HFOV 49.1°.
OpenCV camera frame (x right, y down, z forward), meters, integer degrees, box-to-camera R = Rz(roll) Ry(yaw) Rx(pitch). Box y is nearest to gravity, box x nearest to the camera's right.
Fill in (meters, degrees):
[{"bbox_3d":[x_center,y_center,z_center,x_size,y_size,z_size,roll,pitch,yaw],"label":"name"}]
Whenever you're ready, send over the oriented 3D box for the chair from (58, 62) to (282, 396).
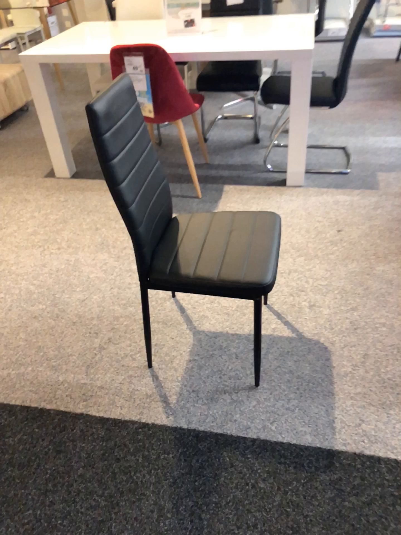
[{"bbox_3d":[-0.014,-0.100,1.422,0.470,0.935,0.473,5,39,12],"label":"chair"}]
